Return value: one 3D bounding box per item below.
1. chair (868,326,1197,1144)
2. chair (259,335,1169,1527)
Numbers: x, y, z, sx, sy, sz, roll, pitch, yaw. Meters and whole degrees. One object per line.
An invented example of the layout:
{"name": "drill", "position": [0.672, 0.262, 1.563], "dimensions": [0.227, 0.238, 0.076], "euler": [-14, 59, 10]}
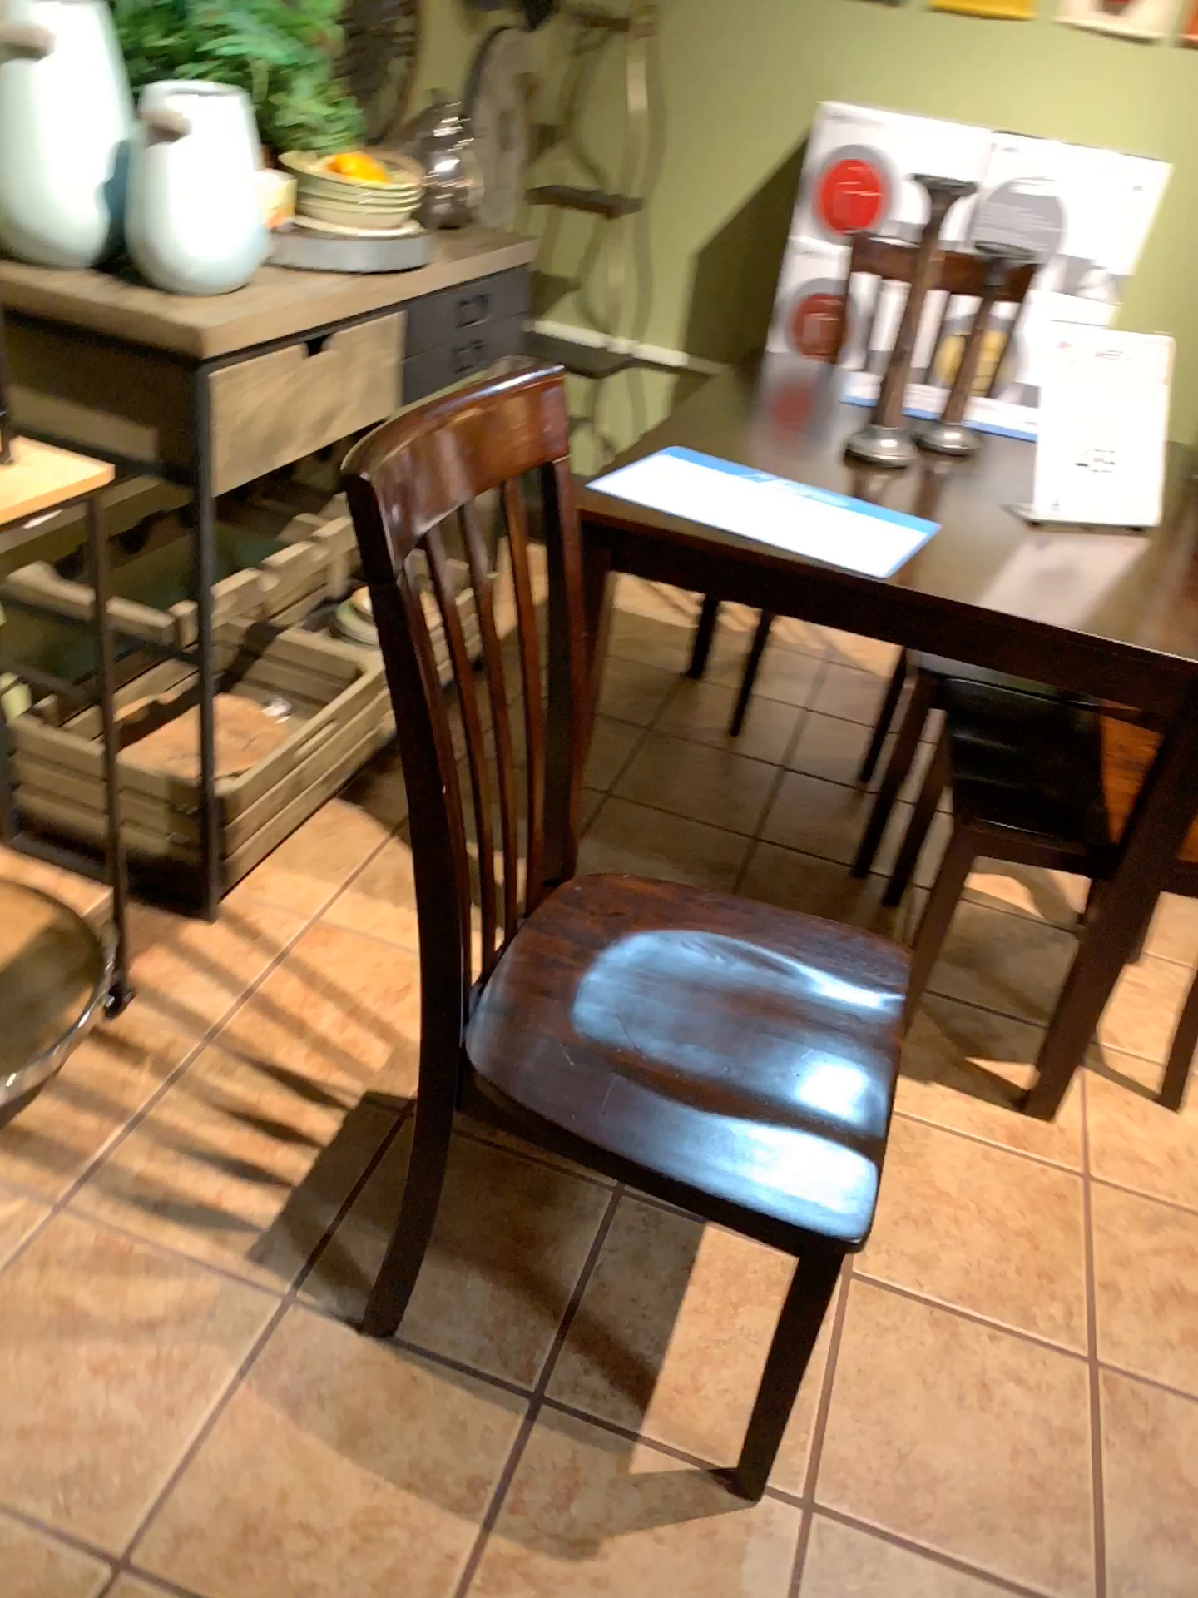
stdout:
{"name": "chair", "position": [0.793, -0.080, 1.726], "dimensions": [0.574, 0.946, 0.464], "euler": [13, 32, 5]}
{"name": "chair", "position": [0.052, 0.132, 1.193], "dimensions": [0.584, 0.936, 0.464], "euler": [17, 33, 10]}
